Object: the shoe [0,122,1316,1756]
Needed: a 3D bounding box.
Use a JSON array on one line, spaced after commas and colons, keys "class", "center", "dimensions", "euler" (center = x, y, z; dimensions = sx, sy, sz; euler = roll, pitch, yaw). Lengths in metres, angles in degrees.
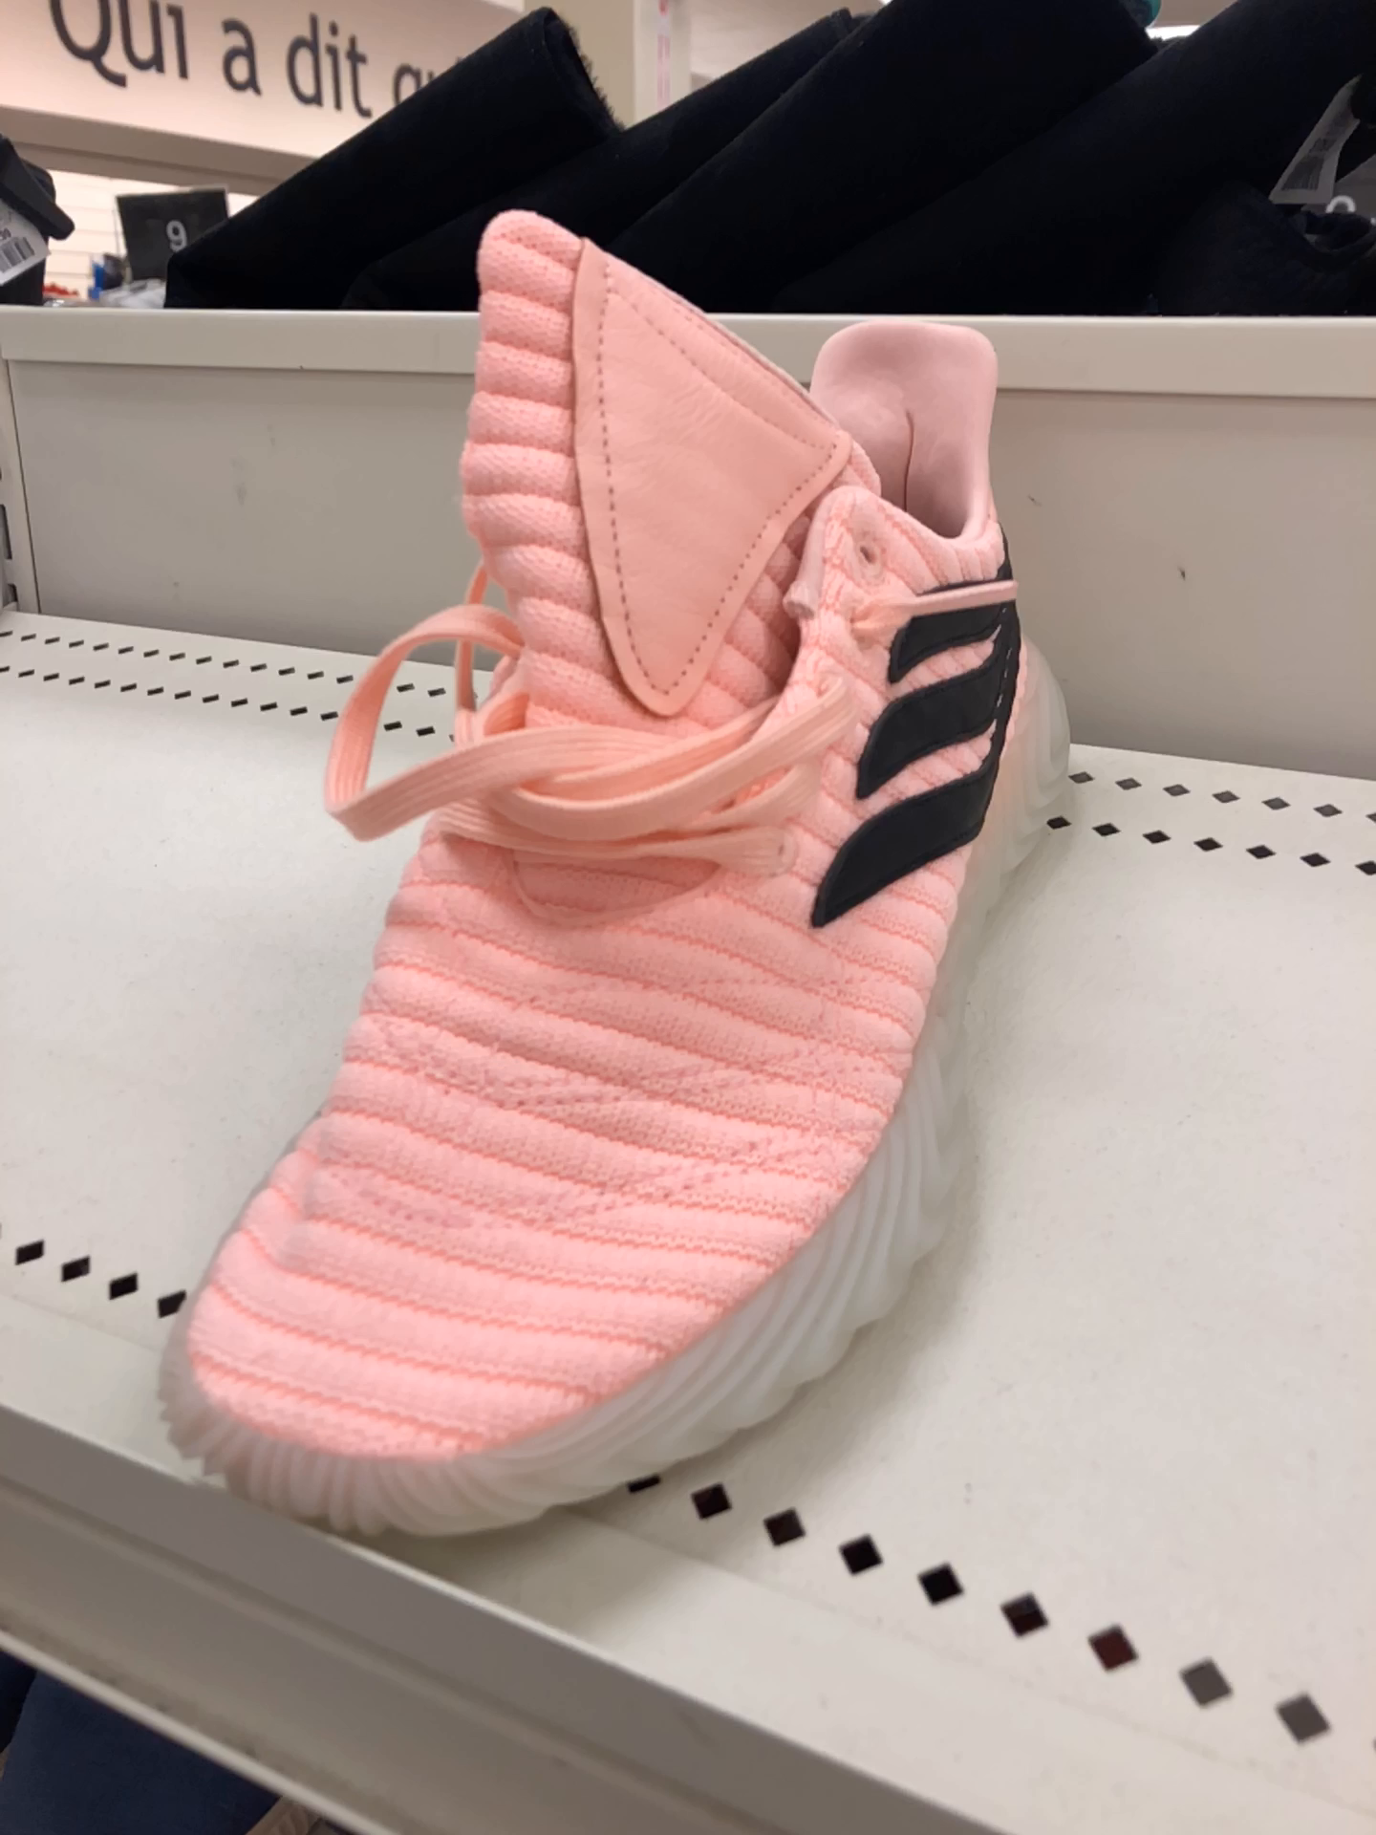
[{"class": "shoe", "center": [0.024, -0.049, 0.307], "dimensions": [0.120, 0.169, 0.322], "euler": [11, 34, 28]}]
